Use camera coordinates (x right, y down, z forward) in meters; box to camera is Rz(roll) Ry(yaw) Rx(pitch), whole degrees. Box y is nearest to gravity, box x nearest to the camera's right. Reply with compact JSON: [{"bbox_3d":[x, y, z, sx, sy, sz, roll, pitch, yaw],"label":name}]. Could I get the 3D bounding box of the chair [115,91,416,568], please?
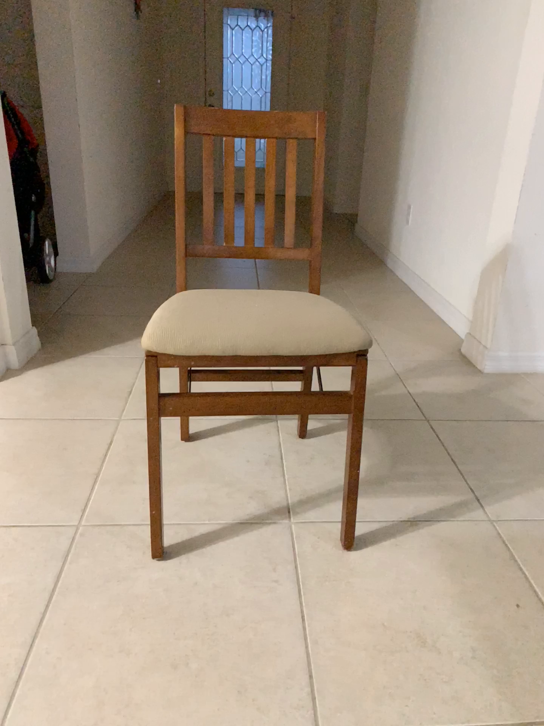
[{"bbox_3d":[-0.043,-0.102,1.265,0.450,0.882,0.595,1,22,-5],"label":"chair"}]
